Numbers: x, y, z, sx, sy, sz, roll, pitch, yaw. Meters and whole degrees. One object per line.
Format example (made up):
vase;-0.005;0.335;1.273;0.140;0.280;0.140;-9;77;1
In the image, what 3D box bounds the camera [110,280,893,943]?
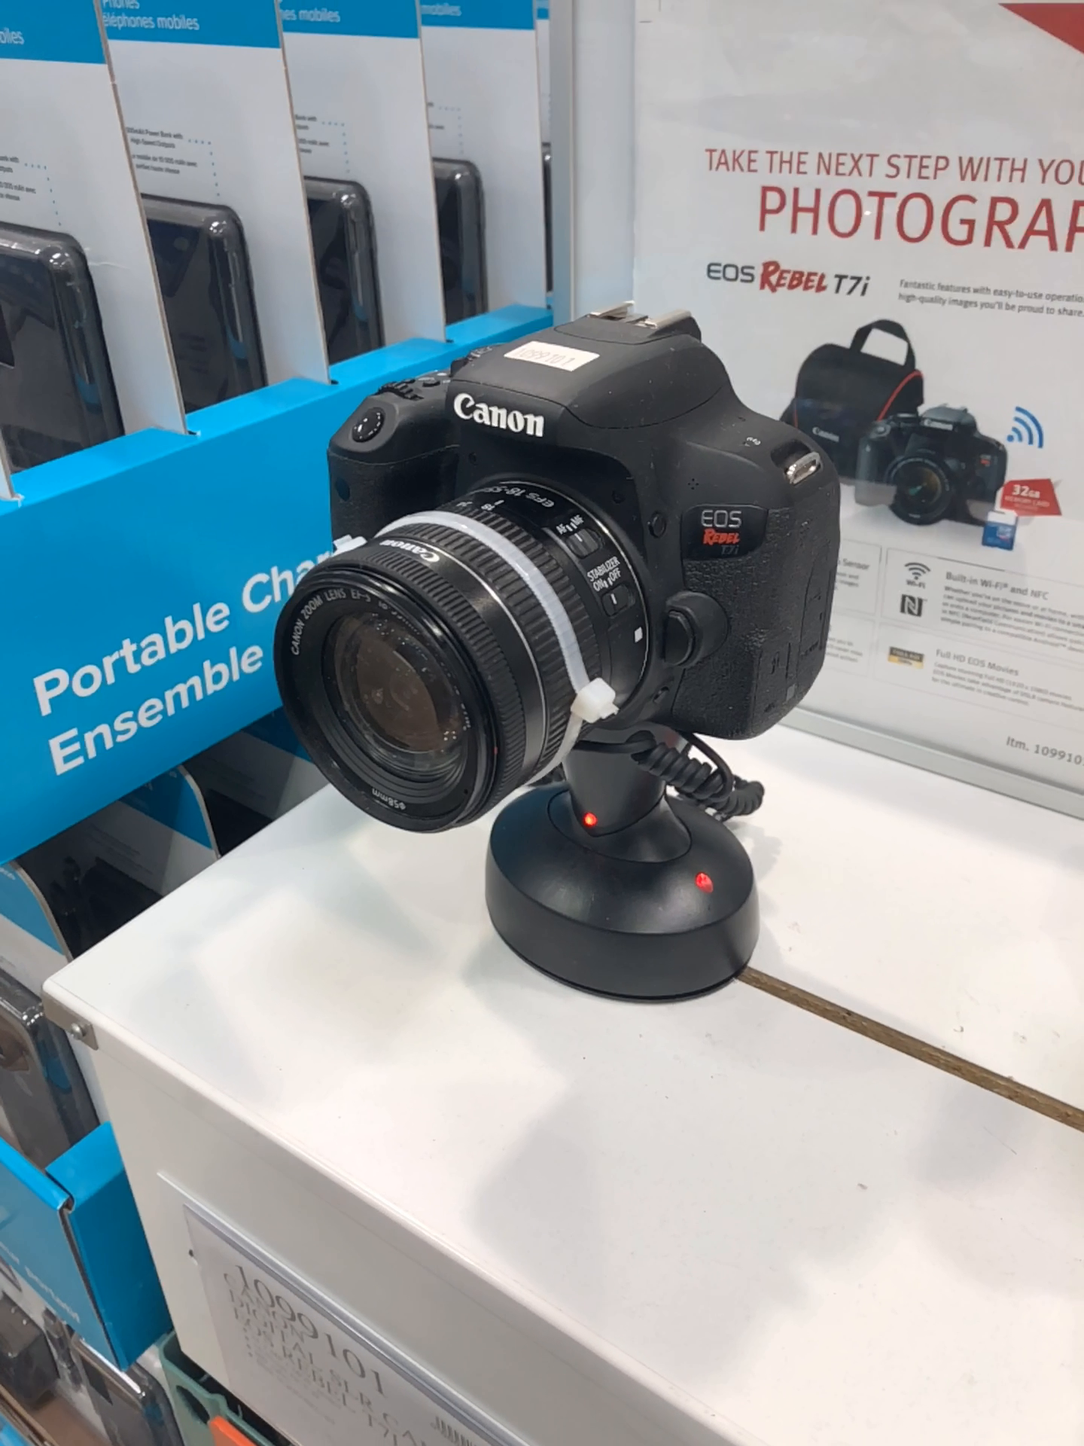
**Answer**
camera;-0.002;-0.046;0.323;0.130;0.100;0.150;19;37;29
